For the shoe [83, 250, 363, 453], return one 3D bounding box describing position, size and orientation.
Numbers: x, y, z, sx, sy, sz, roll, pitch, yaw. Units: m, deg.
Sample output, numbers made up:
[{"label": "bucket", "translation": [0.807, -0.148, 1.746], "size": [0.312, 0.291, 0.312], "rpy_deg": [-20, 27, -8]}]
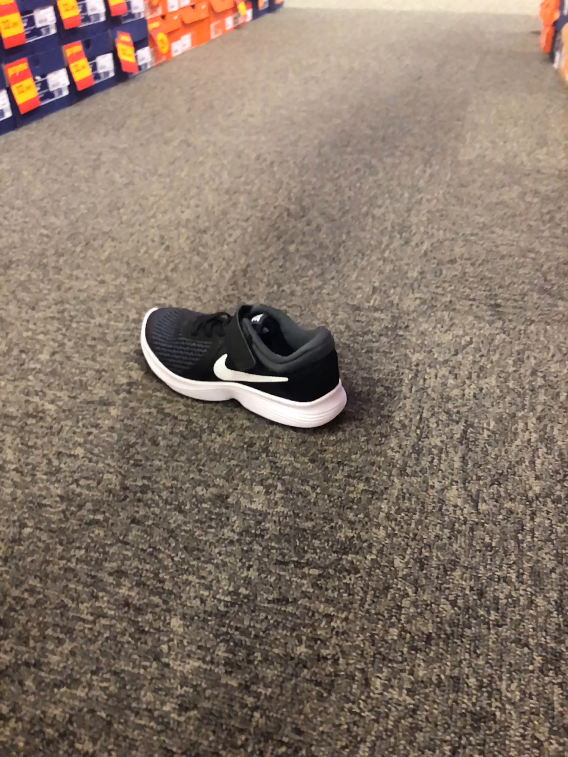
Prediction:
[{"label": "shoe", "translation": [-0.053, -0.031, 0.535], "size": [0.217, 0.080, 0.091], "rpy_deg": [20, 42, 26]}]
